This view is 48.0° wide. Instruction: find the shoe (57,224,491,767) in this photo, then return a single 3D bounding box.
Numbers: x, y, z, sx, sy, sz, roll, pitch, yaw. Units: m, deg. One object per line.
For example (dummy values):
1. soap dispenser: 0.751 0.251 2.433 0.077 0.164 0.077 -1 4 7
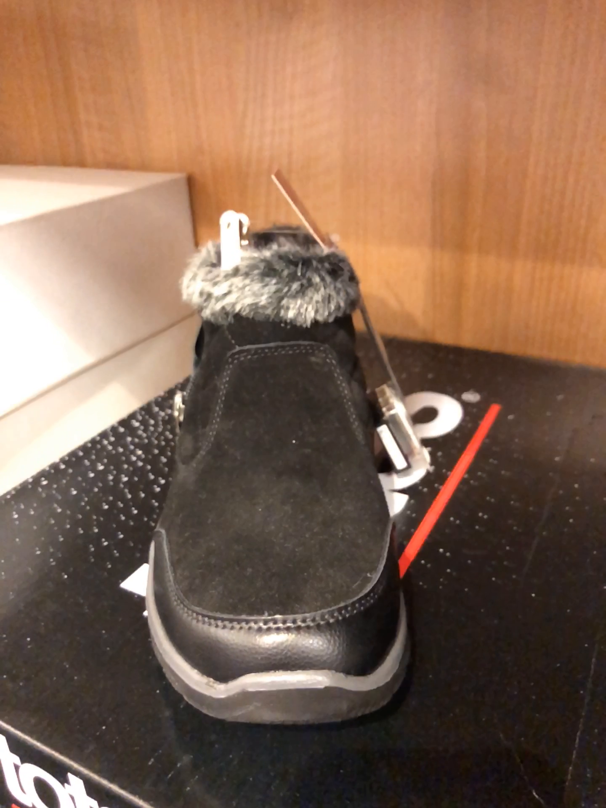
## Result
1. shoe: -0.012 0.005 0.301 0.105 0.112 0.250 -2 26 -2
